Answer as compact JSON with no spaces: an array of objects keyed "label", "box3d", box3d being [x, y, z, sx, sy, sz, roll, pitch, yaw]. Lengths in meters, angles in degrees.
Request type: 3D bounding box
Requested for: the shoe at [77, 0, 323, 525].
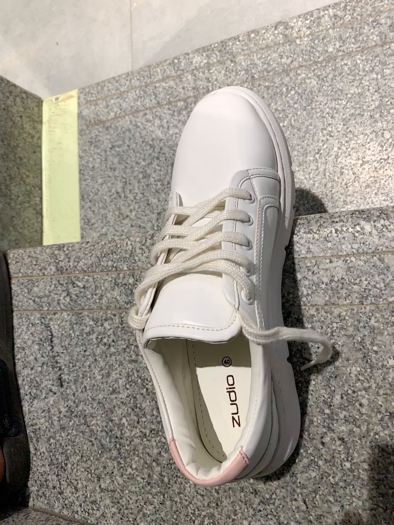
[{"label":"shoe","box3d":[0.005,0.014,0.262,0.110,0.110,0.290,-5,84,27]}]
